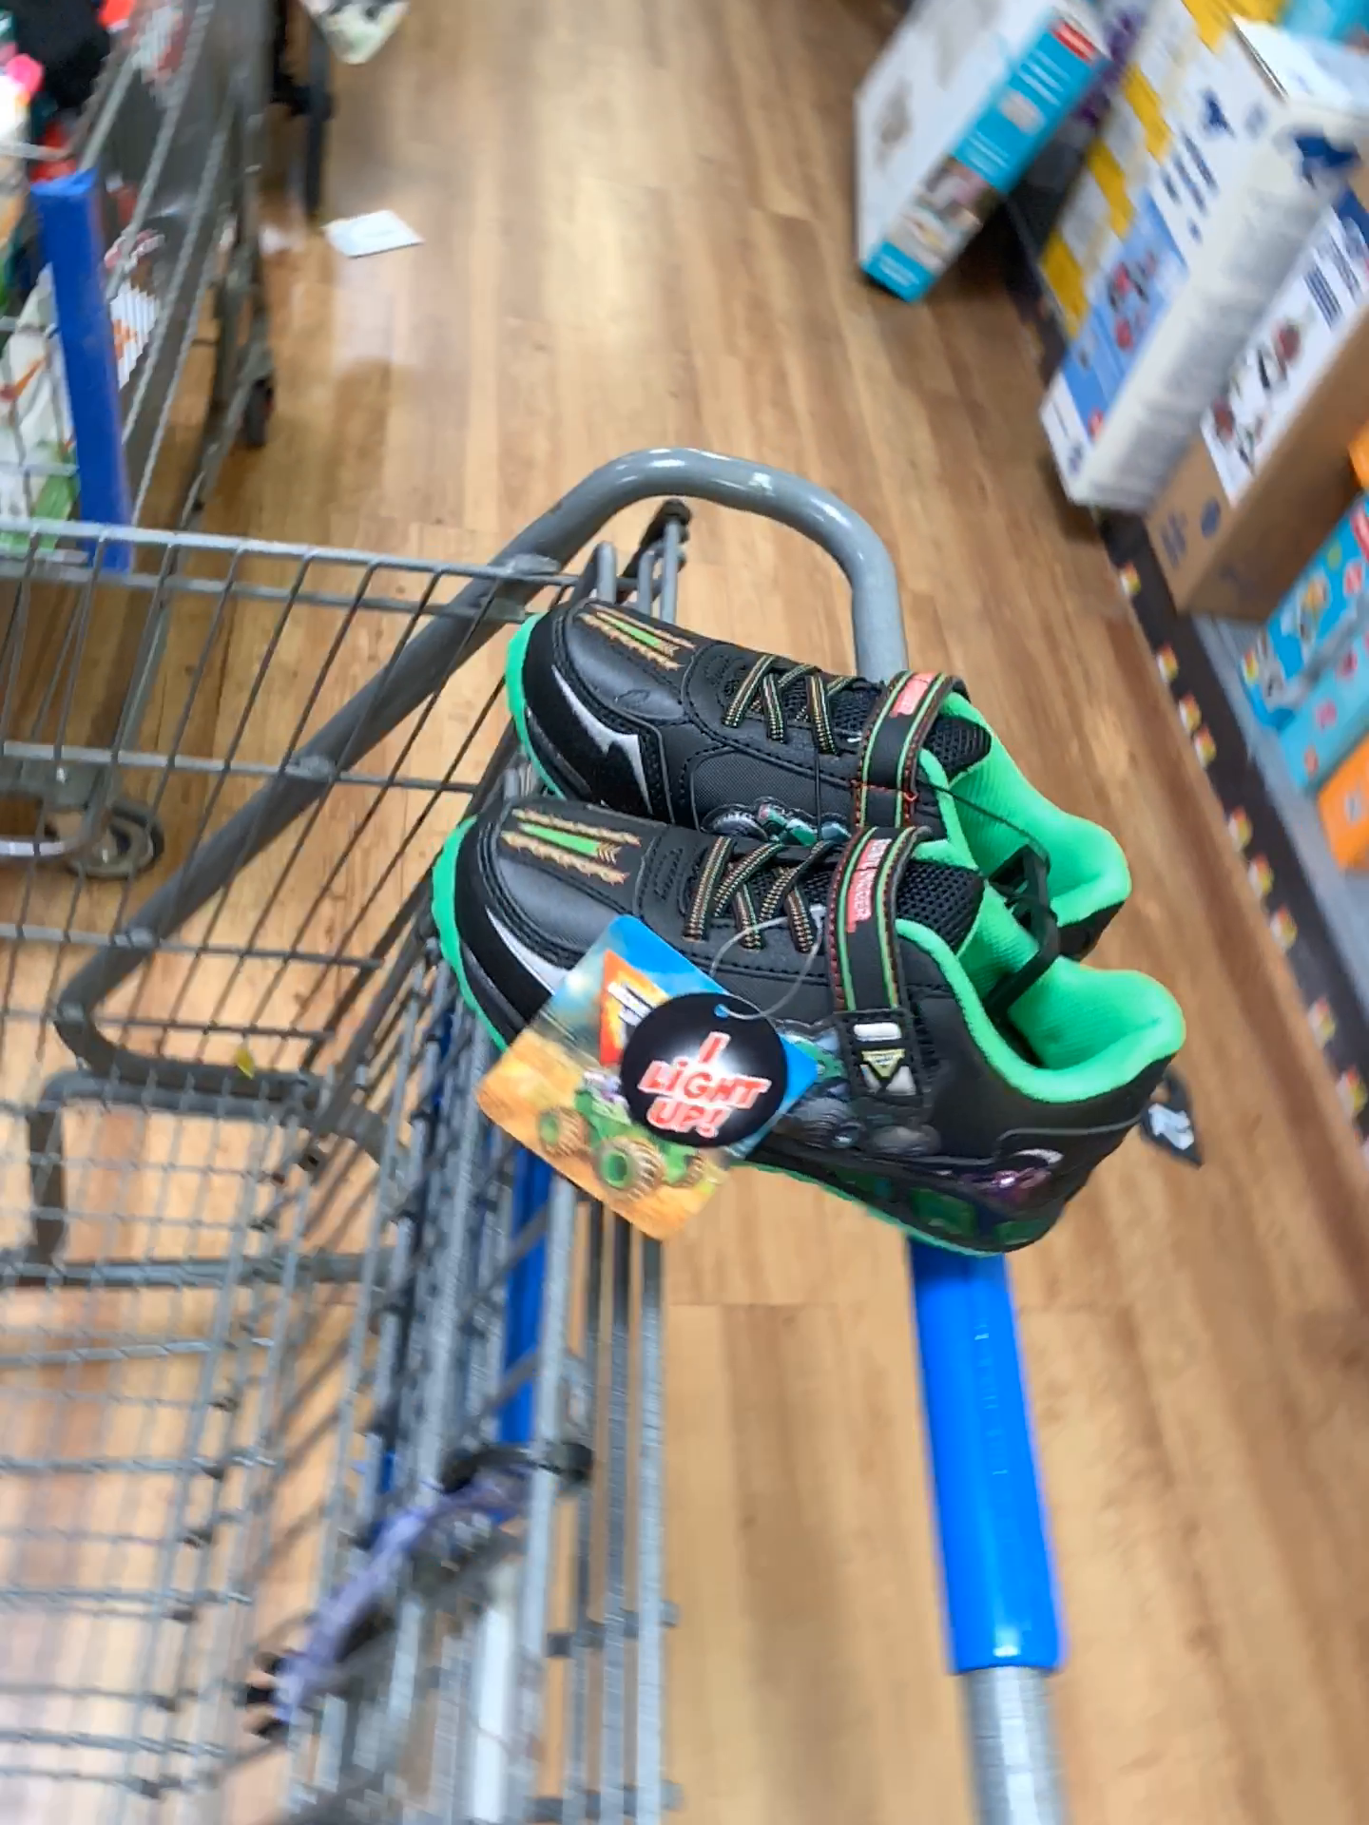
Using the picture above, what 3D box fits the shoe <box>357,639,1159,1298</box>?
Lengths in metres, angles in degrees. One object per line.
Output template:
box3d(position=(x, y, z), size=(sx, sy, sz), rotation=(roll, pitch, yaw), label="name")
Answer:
box3d(position=(0.020, 0.018, 0.396), size=(0.194, 0.093, 0.095), rotation=(18, 50, -2), label="shoe")

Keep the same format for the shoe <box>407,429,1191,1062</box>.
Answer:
box3d(position=(0.033, -0.052, 0.440), size=(0.213, 0.086, 0.090), rotation=(23, 50, 3), label="shoe")
